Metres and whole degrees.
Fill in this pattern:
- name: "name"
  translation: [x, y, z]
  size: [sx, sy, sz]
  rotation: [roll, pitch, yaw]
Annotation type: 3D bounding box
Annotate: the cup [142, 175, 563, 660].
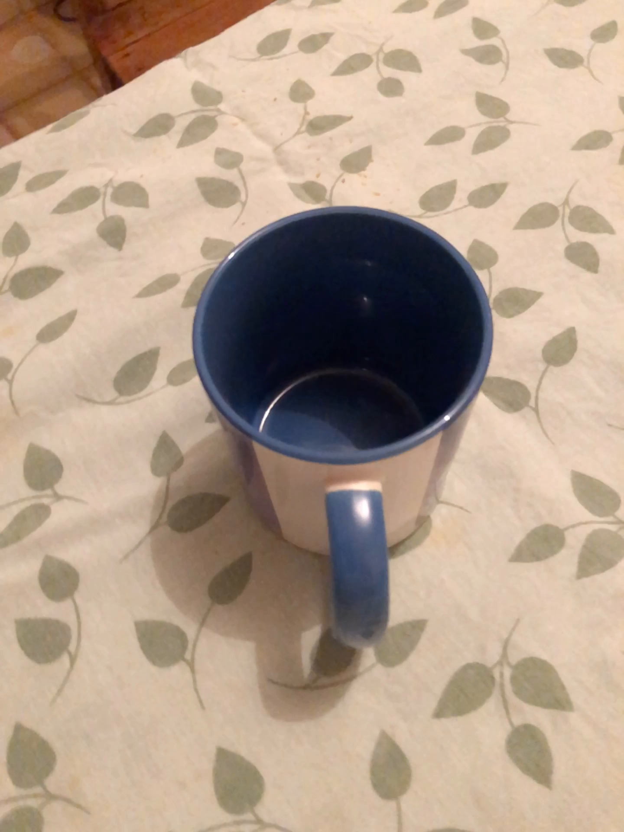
- name: "cup"
  translation: [0.009, 0.008, 0.219]
  size: [0.090, 0.100, 0.120]
  rotation: [-2, 65, 1]
